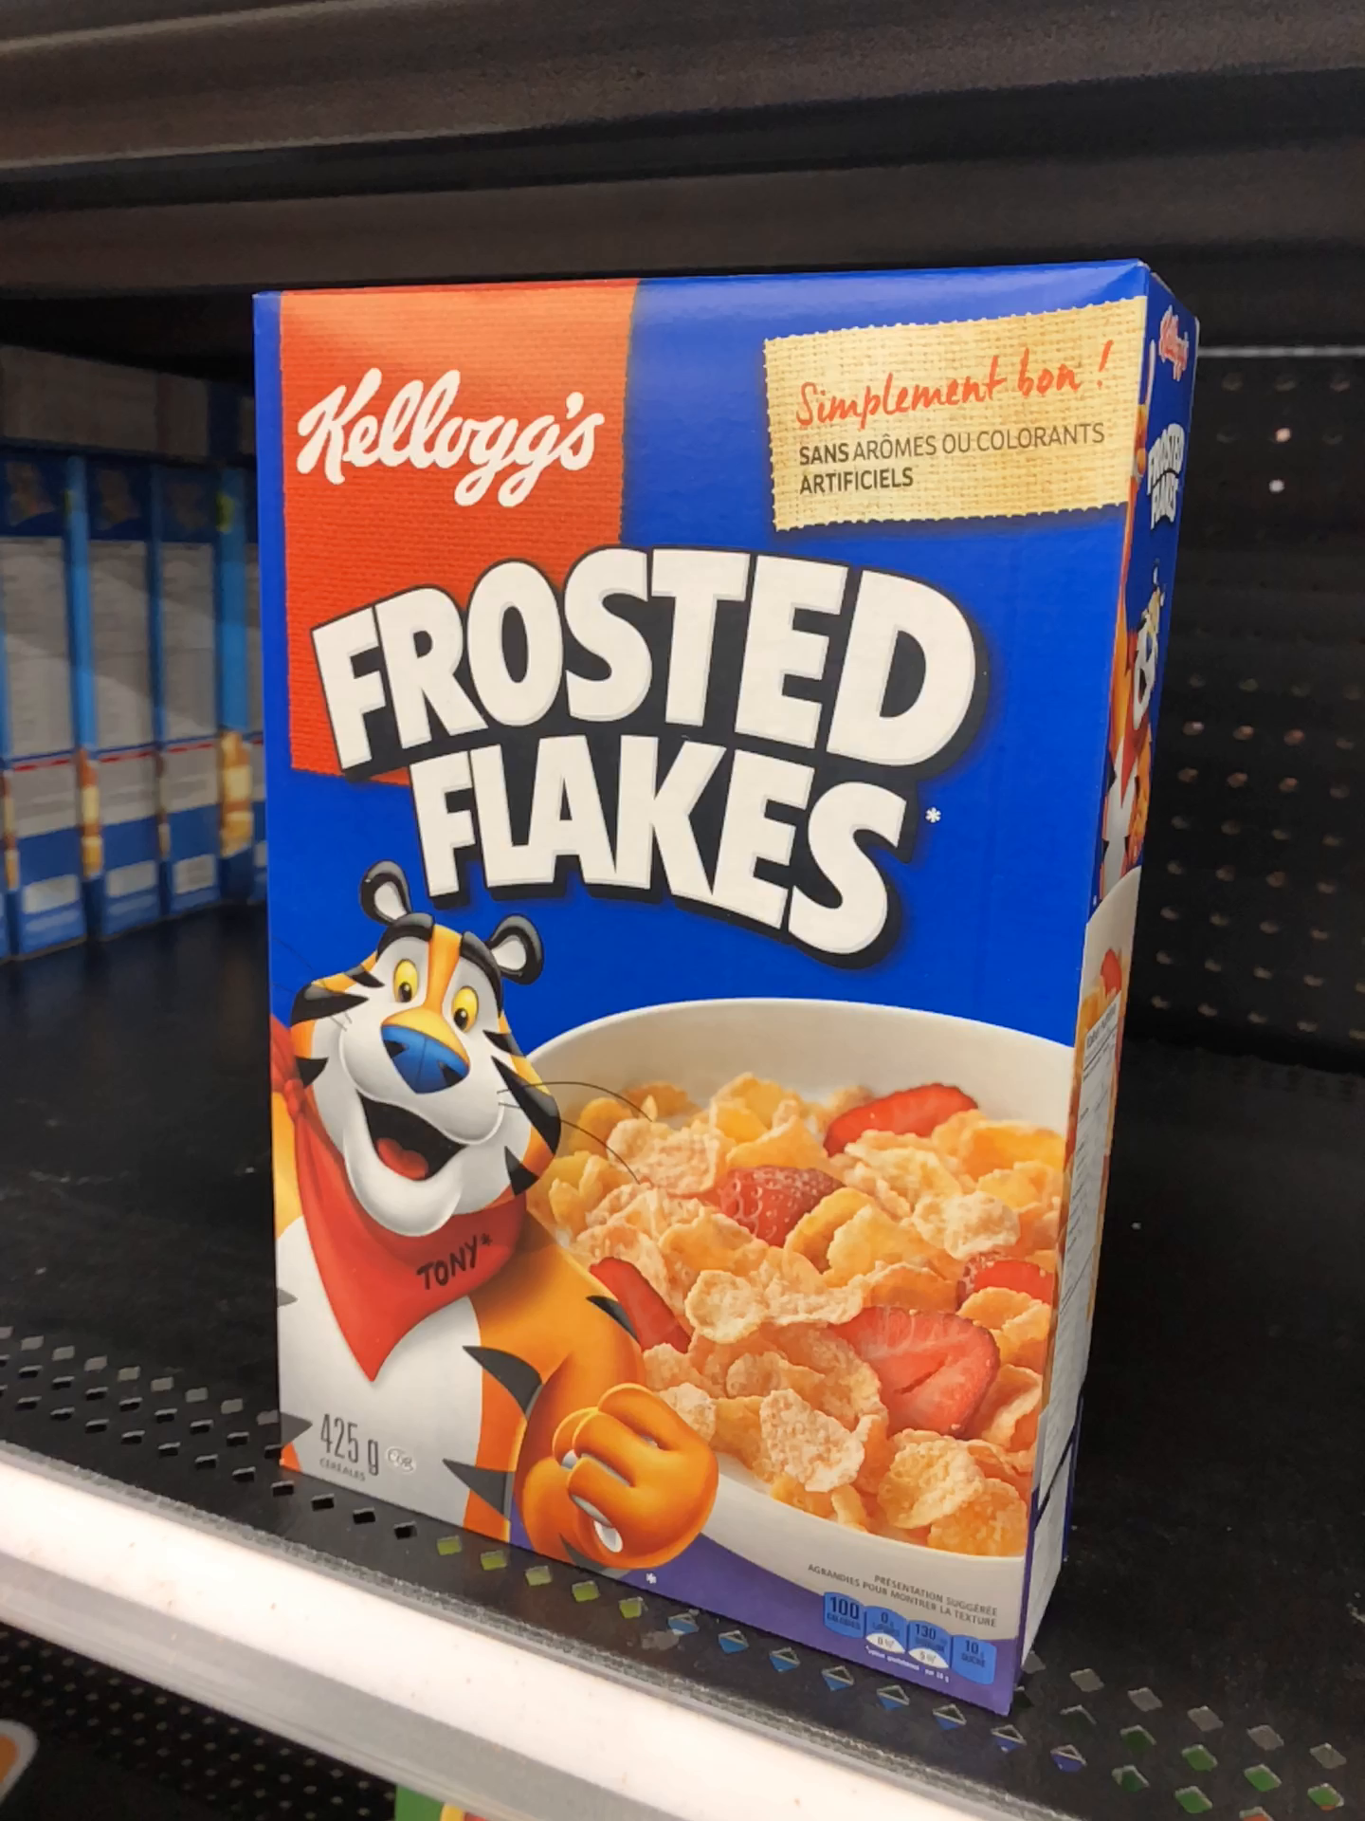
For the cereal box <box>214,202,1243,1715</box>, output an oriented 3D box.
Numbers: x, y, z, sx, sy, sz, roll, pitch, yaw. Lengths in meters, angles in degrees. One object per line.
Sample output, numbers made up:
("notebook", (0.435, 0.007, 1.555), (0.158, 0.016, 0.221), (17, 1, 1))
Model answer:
("cereal box", (-0.002, 0.004, 0.349), (0.210, 0.289, 0.060), (8, 13, 24))
